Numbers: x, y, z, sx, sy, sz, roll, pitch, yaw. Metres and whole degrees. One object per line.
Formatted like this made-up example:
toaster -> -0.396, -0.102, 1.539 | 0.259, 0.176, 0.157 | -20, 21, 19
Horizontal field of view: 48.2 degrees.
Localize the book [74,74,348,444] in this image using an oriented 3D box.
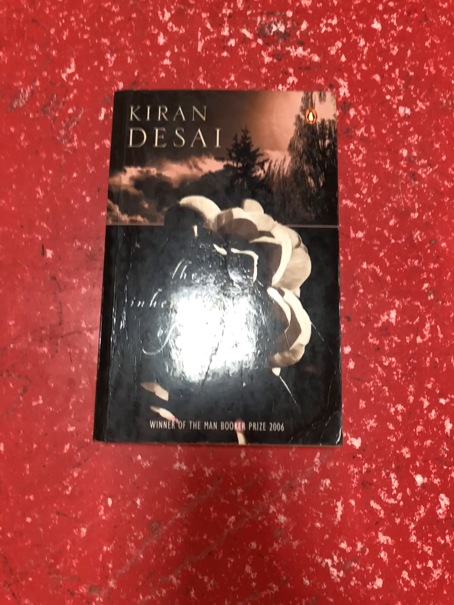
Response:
book -> -0.005, -0.023, 0.286 | 0.130, 0.060, 0.190 | 1, 80, 1
